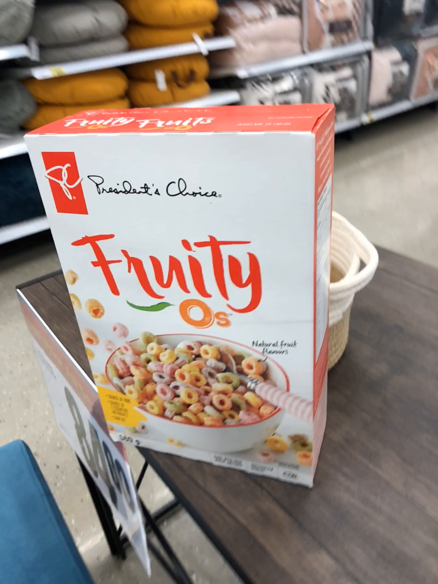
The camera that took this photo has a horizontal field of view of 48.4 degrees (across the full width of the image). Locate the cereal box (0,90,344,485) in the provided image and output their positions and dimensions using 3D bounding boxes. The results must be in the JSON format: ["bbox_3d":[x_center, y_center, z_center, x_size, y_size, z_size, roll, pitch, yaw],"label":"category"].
[{"bbox_3d":[-0.025,0.002,0.383,0.220,0.279,0.080,6,33,20],"label":"cereal box"}]
